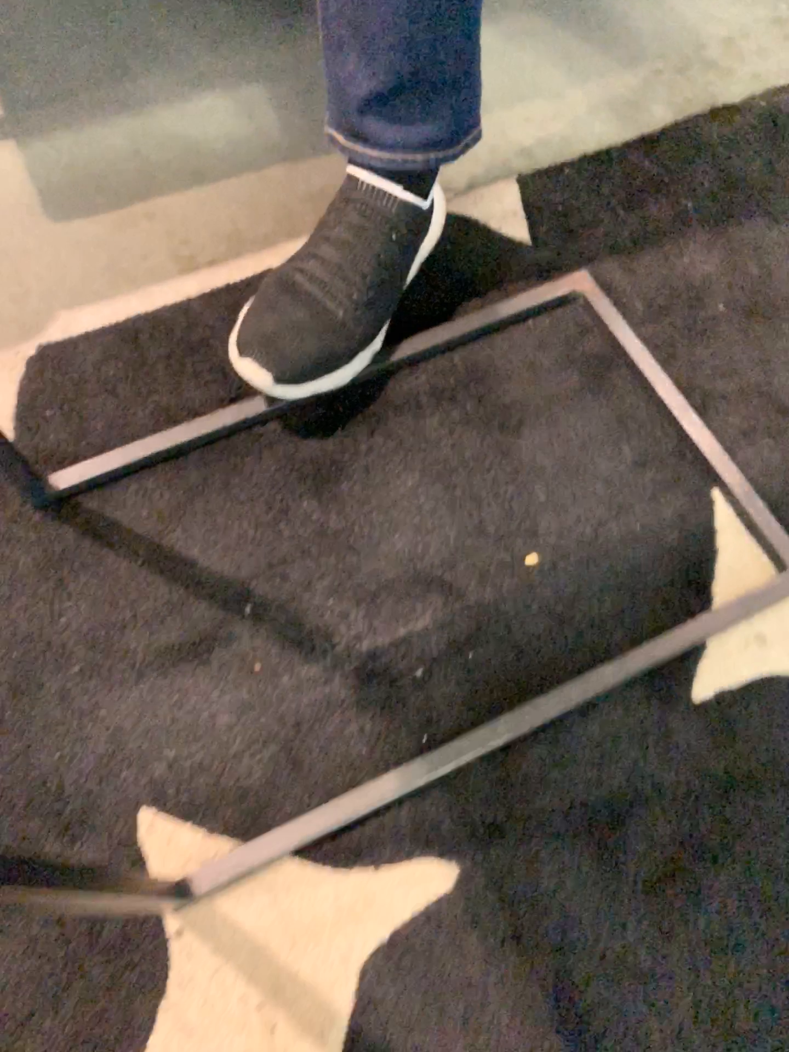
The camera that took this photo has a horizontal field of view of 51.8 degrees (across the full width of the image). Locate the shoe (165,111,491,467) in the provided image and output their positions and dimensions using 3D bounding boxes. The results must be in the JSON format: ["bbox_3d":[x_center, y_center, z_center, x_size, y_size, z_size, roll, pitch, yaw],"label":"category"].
[{"bbox_3d":[-0.045,-0.208,0.685,0.116,0.074,0.303,28,67,12],"label":"shoe"}]
